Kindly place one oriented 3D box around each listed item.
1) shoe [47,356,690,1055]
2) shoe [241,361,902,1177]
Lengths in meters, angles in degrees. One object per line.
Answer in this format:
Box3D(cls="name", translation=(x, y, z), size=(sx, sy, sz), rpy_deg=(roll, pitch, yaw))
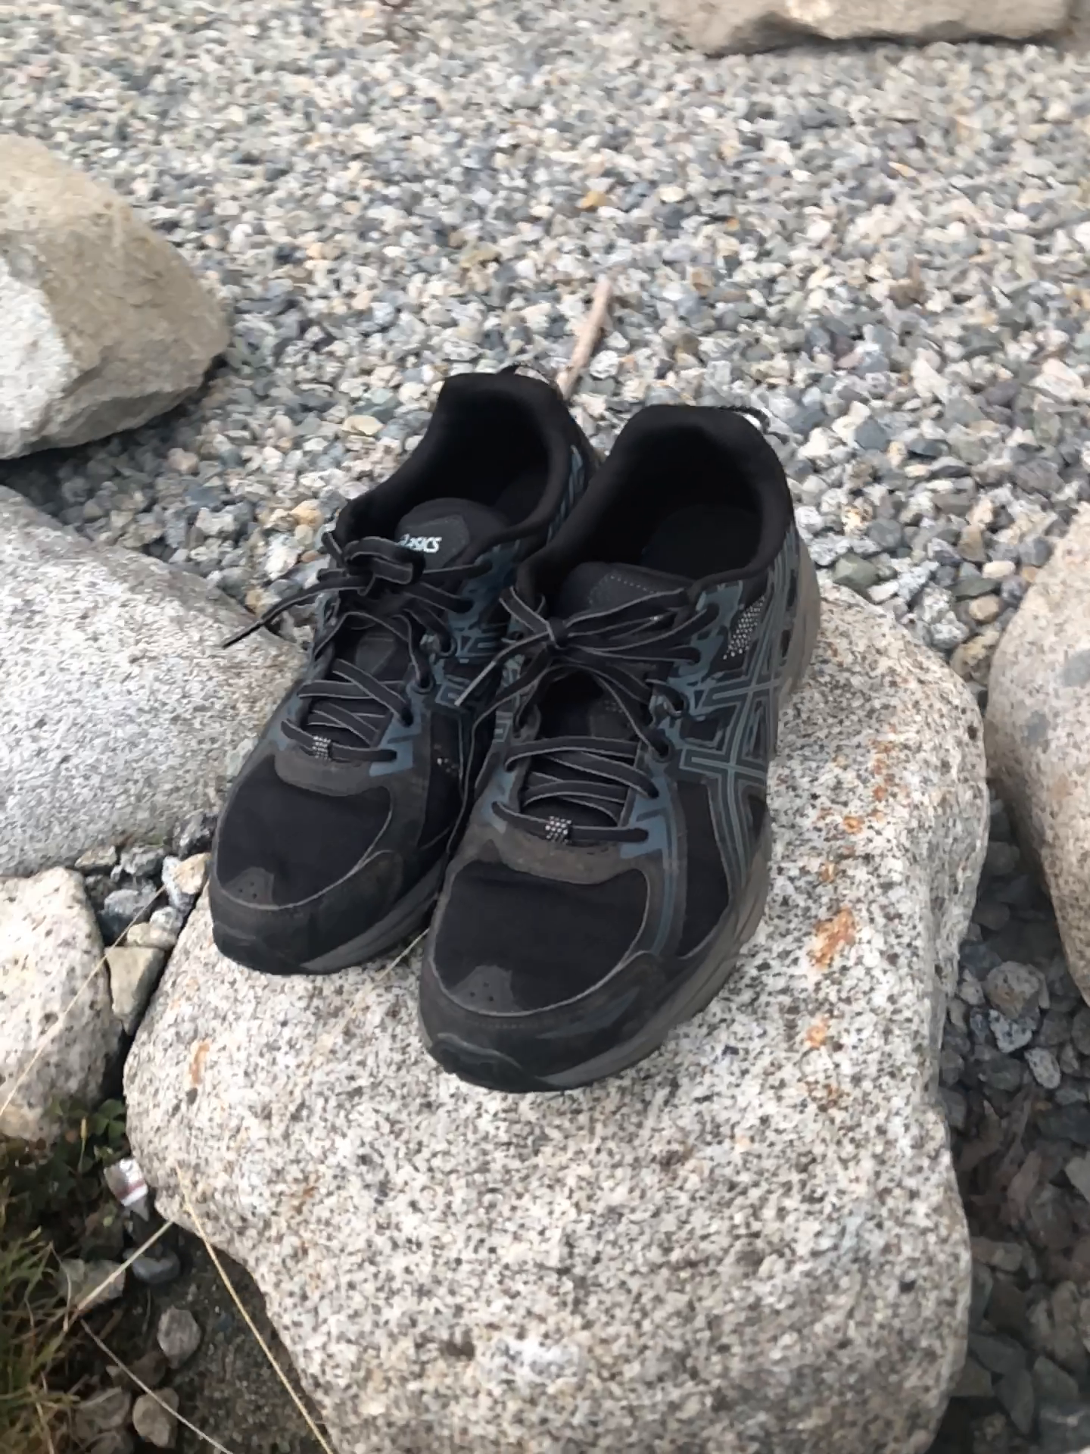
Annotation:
Box3D(cls="shoe", translation=(-0.046, -0.030, 0.489), size=(0.120, 0.099, 0.281), rpy_deg=(14, 50, 21))
Box3D(cls="shoe", translation=(0.033, -0.010, 0.440), size=(0.120, 0.099, 0.291), rpy_deg=(14, 50, 21))
